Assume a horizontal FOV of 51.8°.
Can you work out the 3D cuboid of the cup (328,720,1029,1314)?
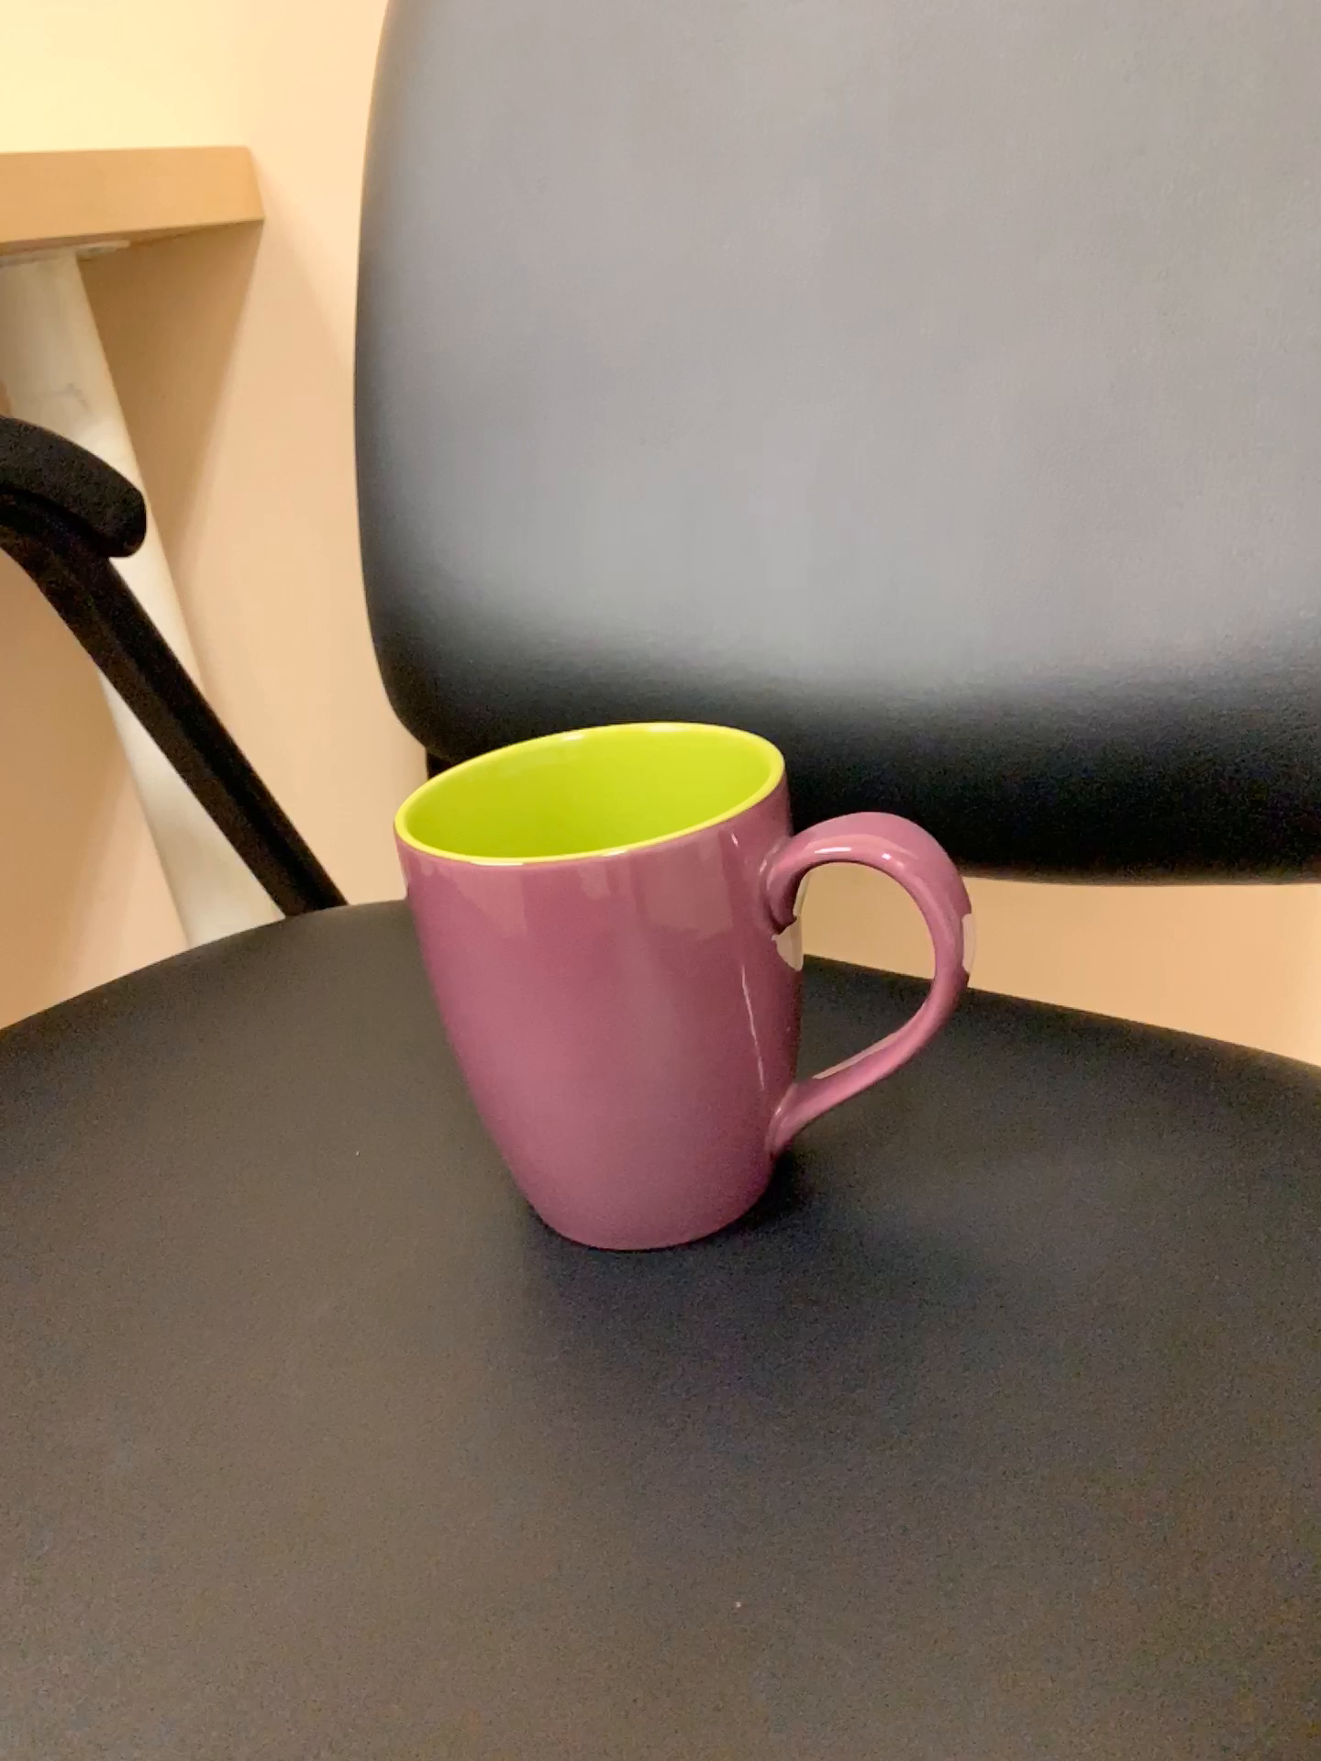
[{"bbox_3d":[0.012,0.026,0.351,0.144,0.109,0.090,2,27,25],"label":"cup"}]
